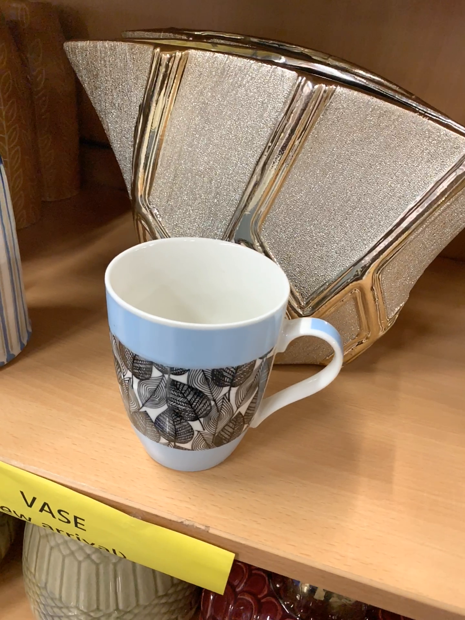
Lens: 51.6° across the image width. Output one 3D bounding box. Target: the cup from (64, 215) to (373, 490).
[{"bbox_3d":[-0.008,0.017,0.228,0.110,0.090,0.080,6,29,-1],"label":"cup"}]
